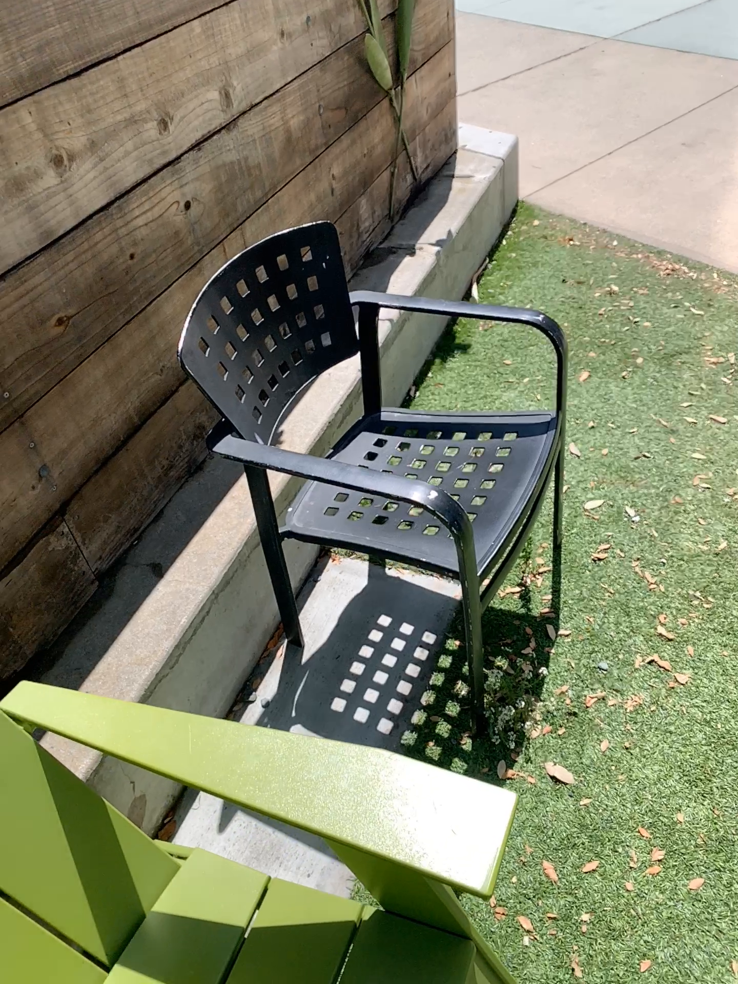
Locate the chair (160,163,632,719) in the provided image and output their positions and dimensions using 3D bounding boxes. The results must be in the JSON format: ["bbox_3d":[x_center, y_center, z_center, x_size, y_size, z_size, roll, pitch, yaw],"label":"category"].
[{"bbox_3d":[0.104,-0.111,1.390,0.521,0.716,0.592,14,46,22],"label":"chair"}]
